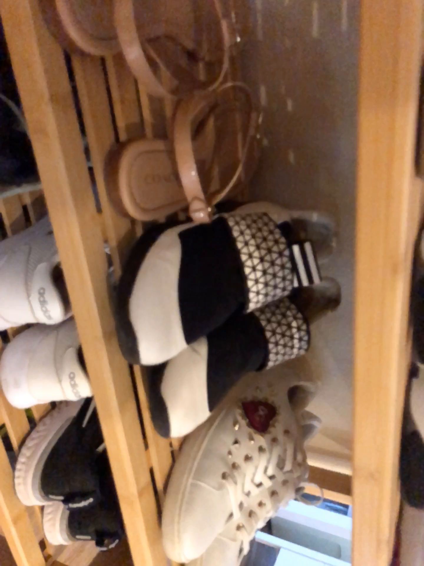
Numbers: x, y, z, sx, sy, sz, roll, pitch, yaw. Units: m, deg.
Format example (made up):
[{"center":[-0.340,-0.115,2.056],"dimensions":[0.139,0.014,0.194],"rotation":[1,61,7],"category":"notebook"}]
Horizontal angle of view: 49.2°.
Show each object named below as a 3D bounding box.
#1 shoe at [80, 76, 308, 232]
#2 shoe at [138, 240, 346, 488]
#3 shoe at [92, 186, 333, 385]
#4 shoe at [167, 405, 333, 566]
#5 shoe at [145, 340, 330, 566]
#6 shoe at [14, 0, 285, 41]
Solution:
[{"center":[0.008,-0.135,0.438],"dimensions":[0.263,0.081,0.099],"rotation":[-38,128,-53],"category":"shoe"},{"center":[0.054,0.053,0.466],"dimensions":[0.281,0.076,0.097],"rotation":[-38,129,-48],"category":"shoe"},{"center":[0.025,-0.020,0.412],"dimensions":[0.263,0.068,0.086],"rotation":[-30,122,-49],"category":"shoe"},{"center":[0.059,0.263,0.534],"dimensions":[0.243,0.068,0.093],"rotation":[-39,129,-44],"category":"shoe"},{"center":[0.046,0.176,0.506],"dimensions":[0.256,0.068,0.093],"rotation":[-39,129,-44],"category":"shoe"},{"center":[-0.022,-0.267,0.391],"dimensions":[0.263,0.074,0.092],"rotation":[-38,128,-53],"category":"shoe"}]
